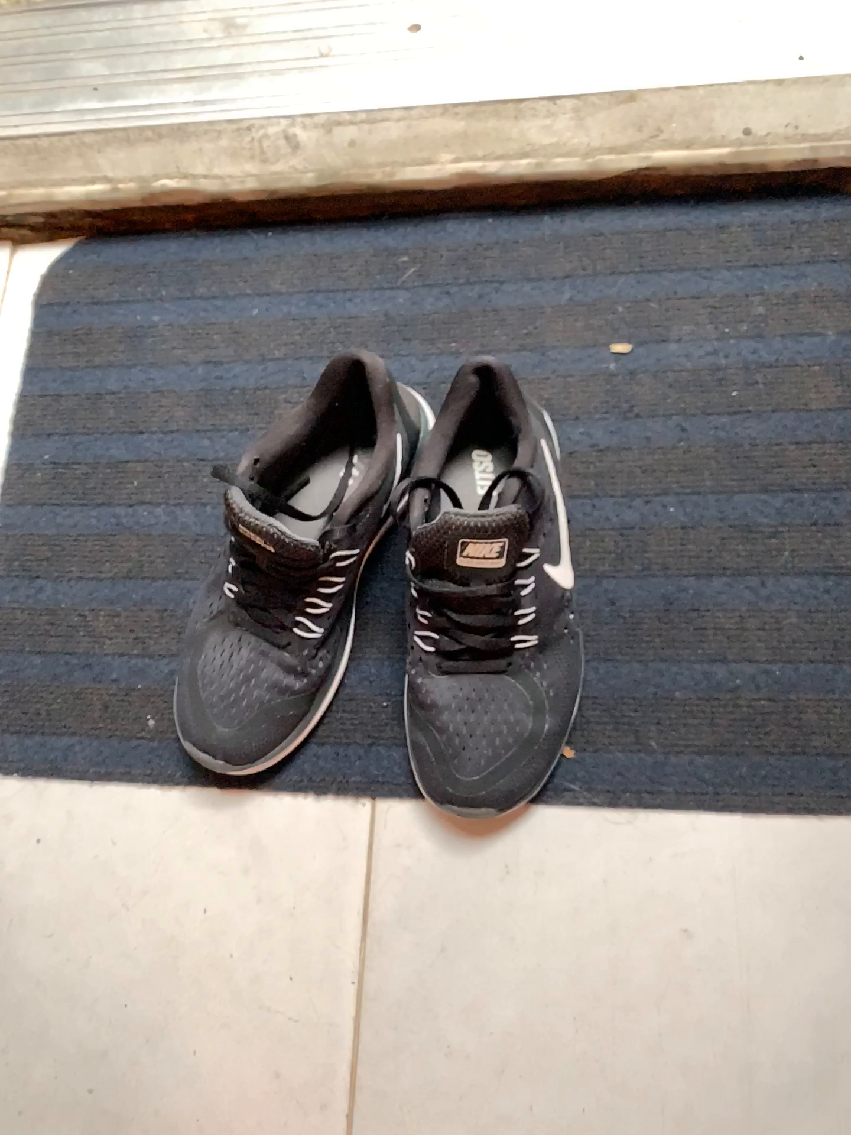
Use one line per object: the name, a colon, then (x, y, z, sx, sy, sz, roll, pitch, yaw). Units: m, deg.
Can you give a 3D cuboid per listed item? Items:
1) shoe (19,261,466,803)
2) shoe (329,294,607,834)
shoe: (-0.081, -0.014, 0.474, 0.104, 0.119, 0.248, 22, 78, 14)
shoe: (0.032, 0.002, 0.450, 0.107, 0.119, 0.248, 3, 74, 10)
